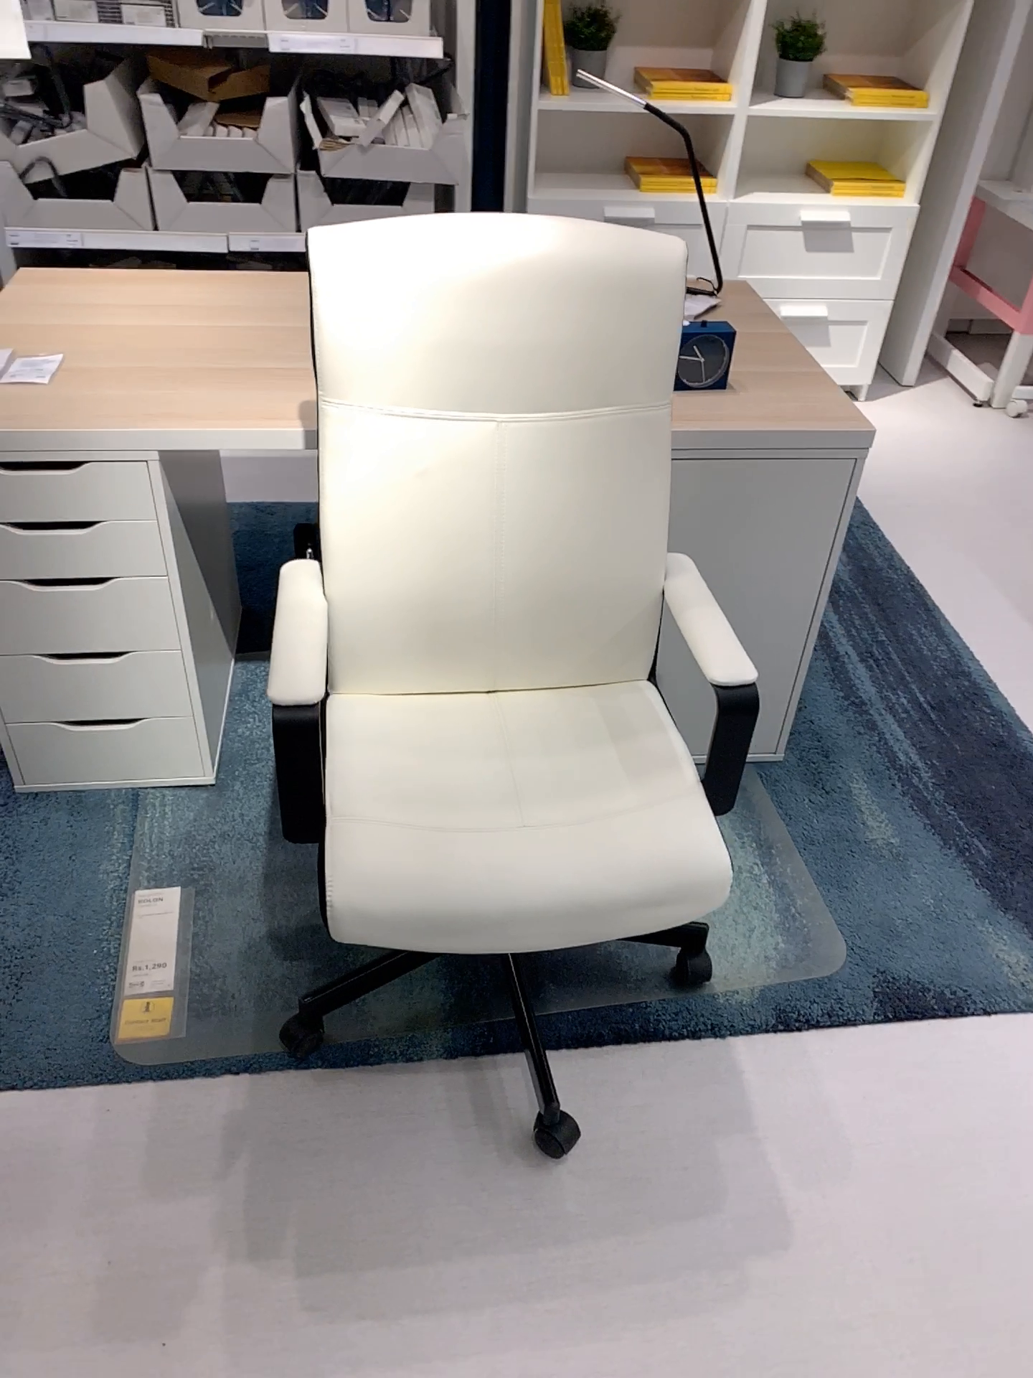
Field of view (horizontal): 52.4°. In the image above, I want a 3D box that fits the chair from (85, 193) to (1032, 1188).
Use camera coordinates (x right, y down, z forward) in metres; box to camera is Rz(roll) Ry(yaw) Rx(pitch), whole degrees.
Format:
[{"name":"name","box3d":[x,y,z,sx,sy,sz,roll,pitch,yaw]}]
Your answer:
[{"name":"chair","box3d":[-0.006,0.000,1.295,0.690,0.956,0.703,-2,39,-7]}]
